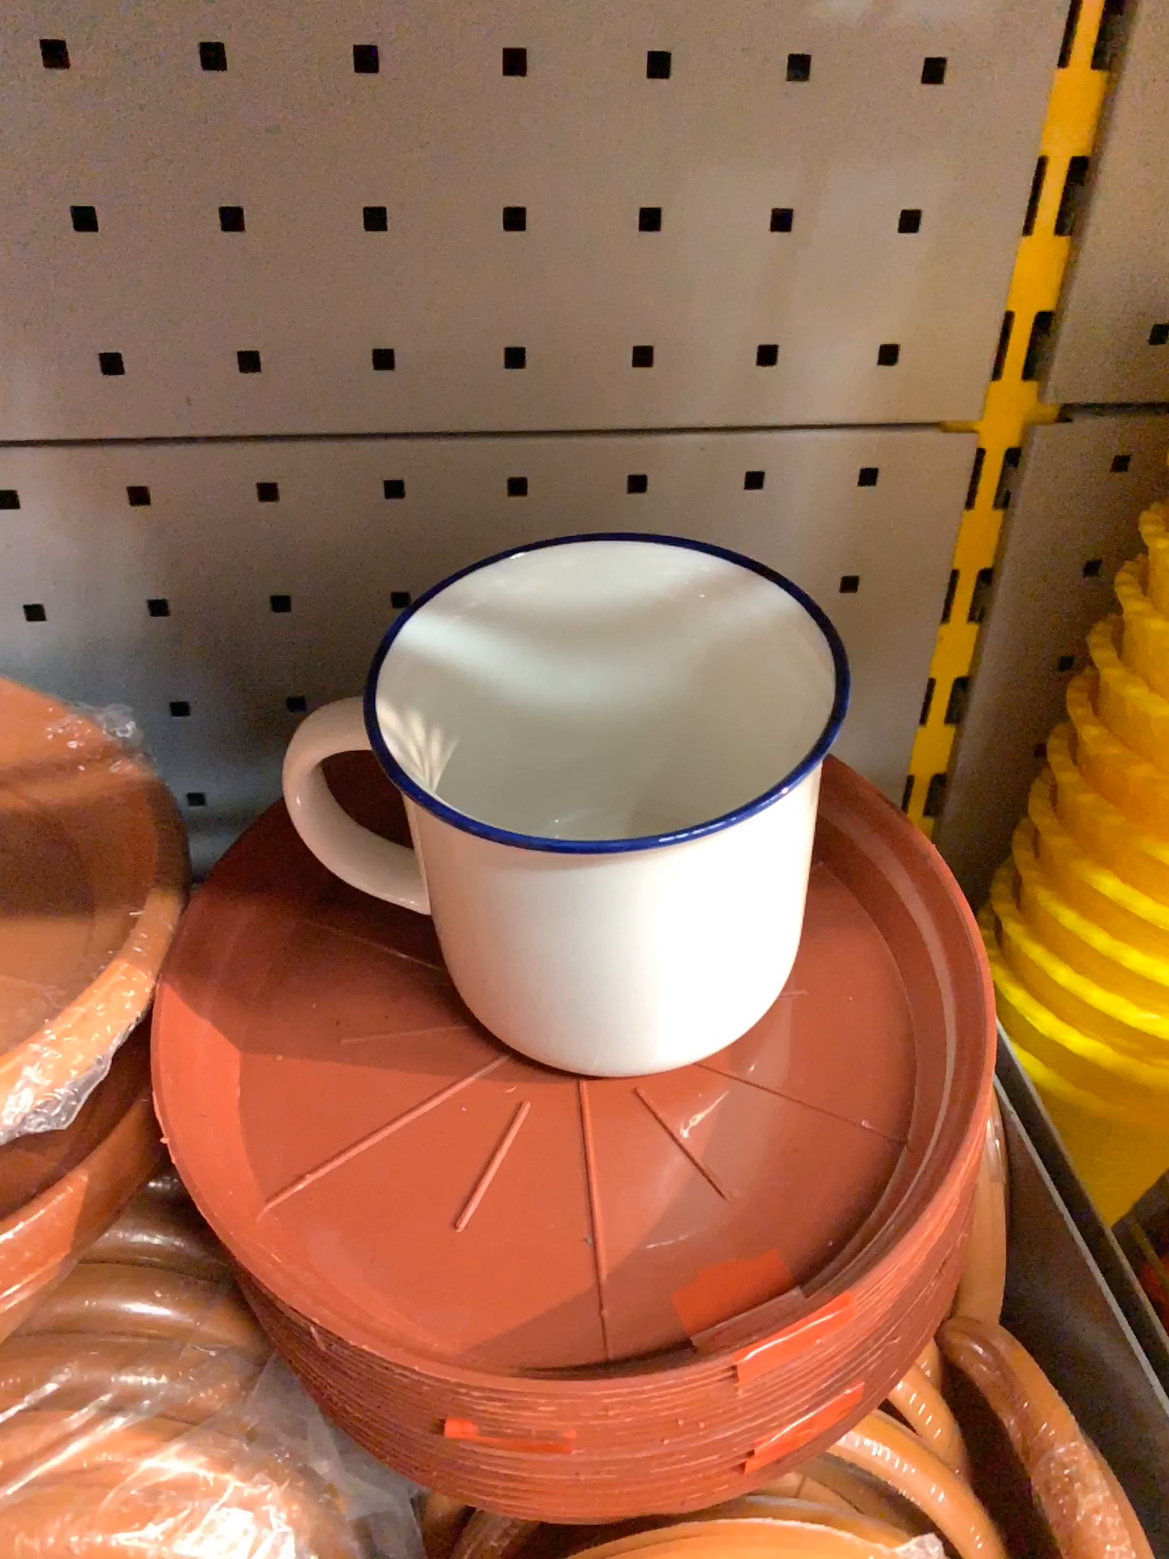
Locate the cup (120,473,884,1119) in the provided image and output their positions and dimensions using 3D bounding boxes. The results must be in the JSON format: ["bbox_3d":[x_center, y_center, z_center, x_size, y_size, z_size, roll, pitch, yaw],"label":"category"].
[{"bbox_3d":[-0.010,0.003,0.252,0.120,0.090,0.090,4,47,4],"label":"cup"}]
